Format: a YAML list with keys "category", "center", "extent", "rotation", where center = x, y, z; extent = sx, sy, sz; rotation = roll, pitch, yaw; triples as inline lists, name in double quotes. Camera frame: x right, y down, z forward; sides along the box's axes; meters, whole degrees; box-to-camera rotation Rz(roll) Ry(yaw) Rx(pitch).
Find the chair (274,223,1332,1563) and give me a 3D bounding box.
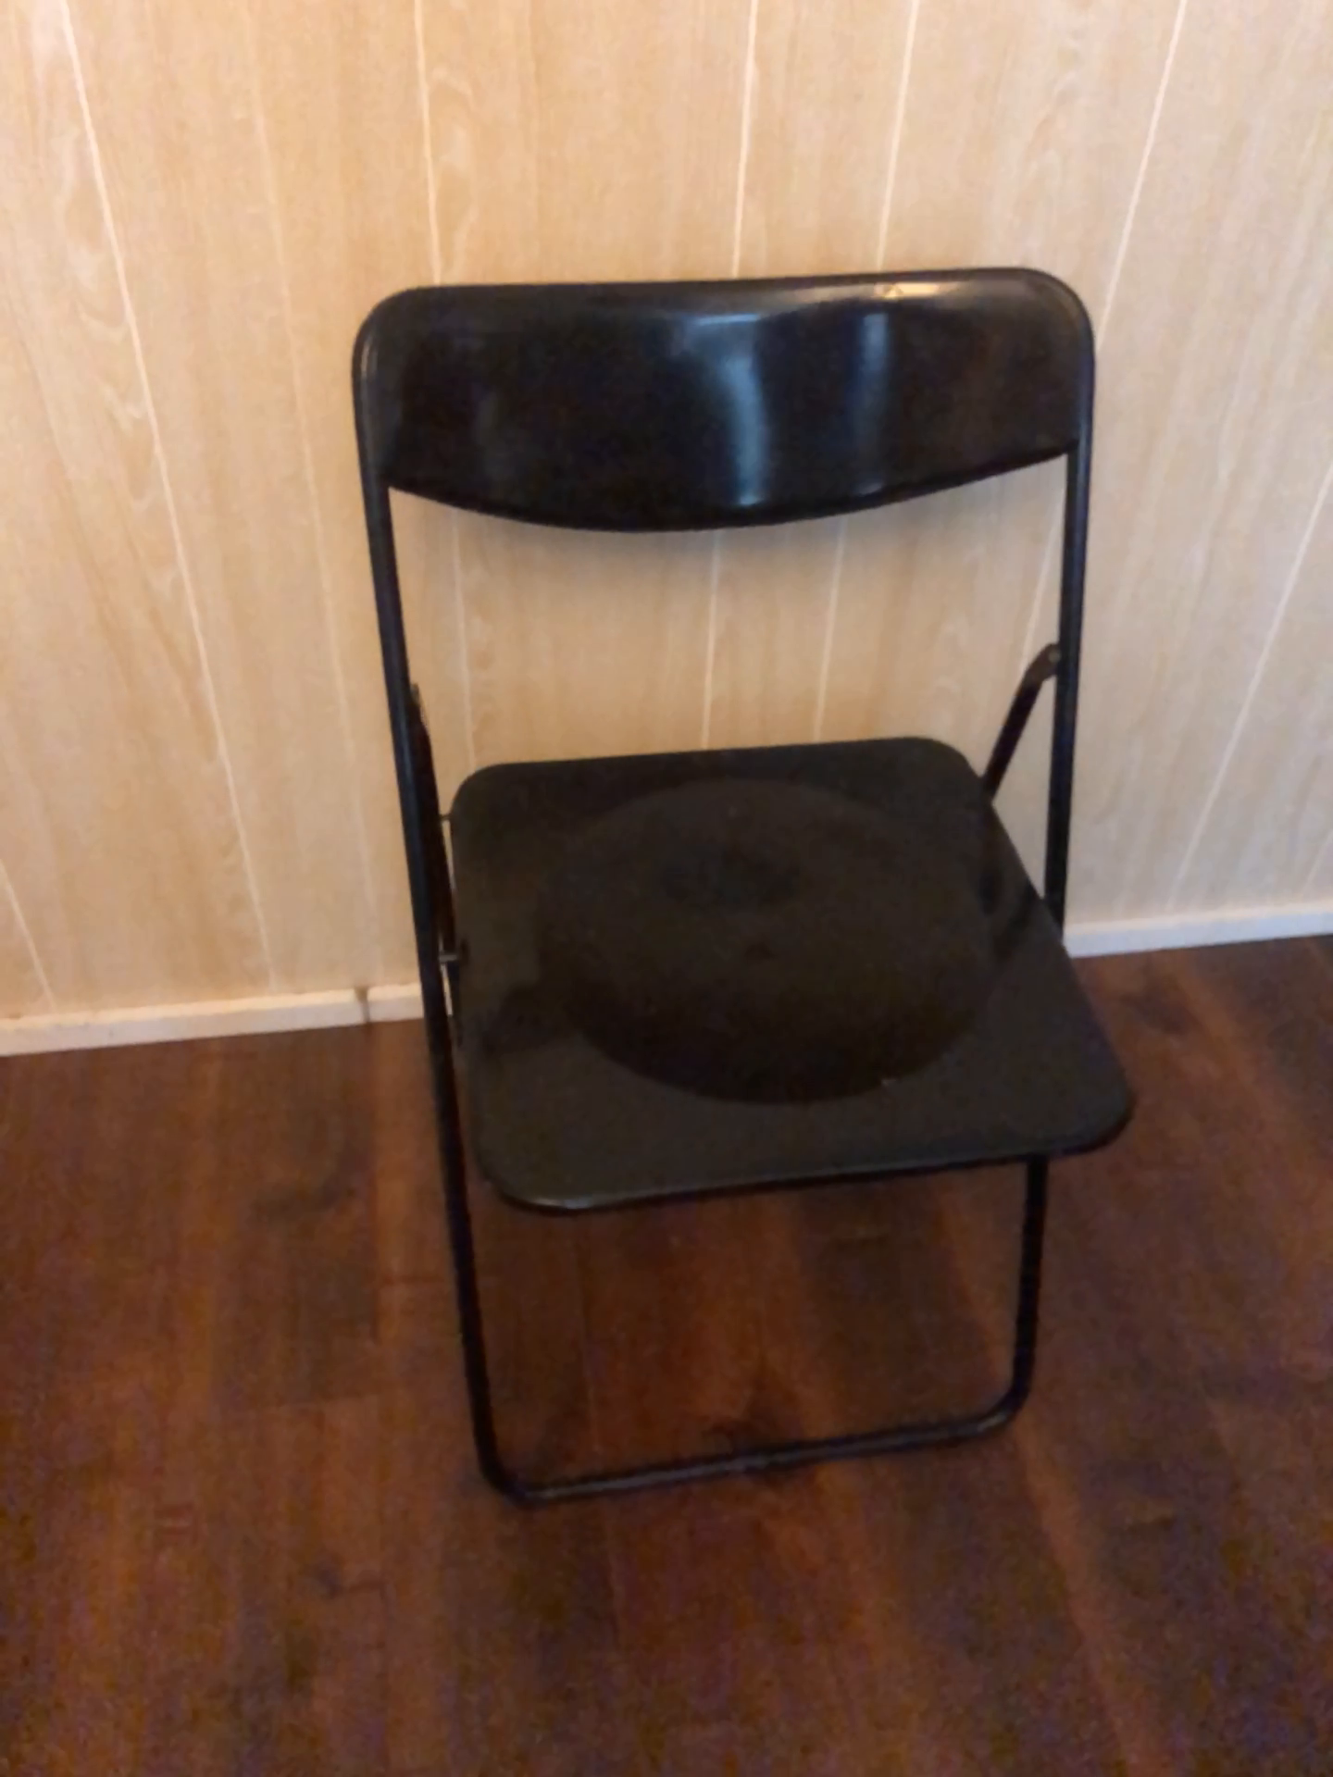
- category: "chair"
  center: [0.058, 0.019, 0.925]
  extent: [0.490, 0.665, 0.473]
  rotation: [-5, 45, -8]
